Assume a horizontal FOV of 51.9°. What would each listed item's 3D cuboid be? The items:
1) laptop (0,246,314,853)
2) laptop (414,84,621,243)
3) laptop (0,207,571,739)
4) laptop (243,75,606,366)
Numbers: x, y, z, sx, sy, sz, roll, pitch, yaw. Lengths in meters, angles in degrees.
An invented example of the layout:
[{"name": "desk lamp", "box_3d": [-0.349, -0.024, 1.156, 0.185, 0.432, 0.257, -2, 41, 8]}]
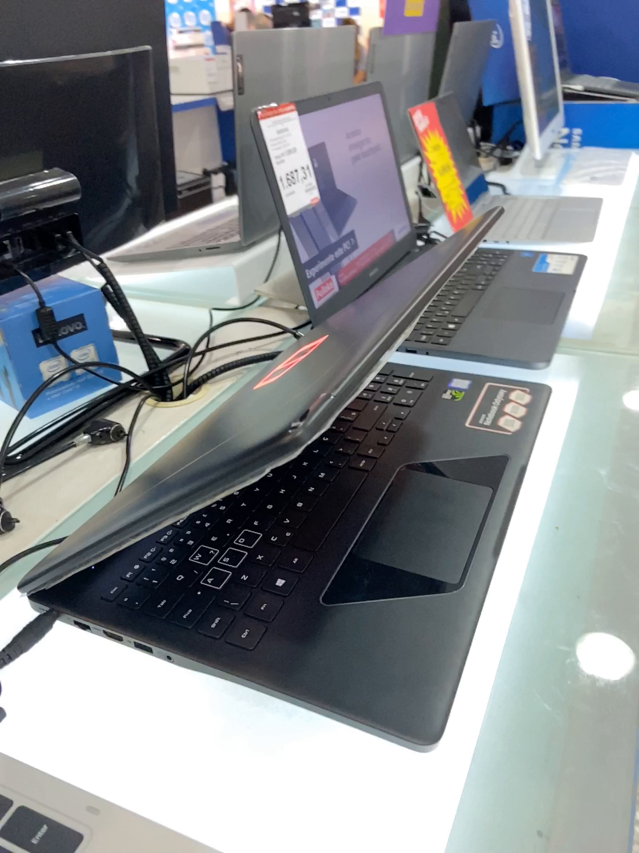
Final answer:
[{"name": "laptop", "box_3d": [-0.254, 0.162, 0.087, 0.344, 0.223, 0.433, 10, 34, 22]}, {"name": "laptop", "box_3d": [0.362, -0.483, 1.194, 0.298, 0.202, 0.309, 9, 33, 21]}, {"name": "laptop", "box_3d": [0.005, -0.031, 0.455, 0.258, 0.152, 0.370, 9, 33, 24]}, {"name": "laptop", "box_3d": [0.154, -0.278, 0.797, 0.307, 0.234, 0.415, 9, 31, 23]}]
